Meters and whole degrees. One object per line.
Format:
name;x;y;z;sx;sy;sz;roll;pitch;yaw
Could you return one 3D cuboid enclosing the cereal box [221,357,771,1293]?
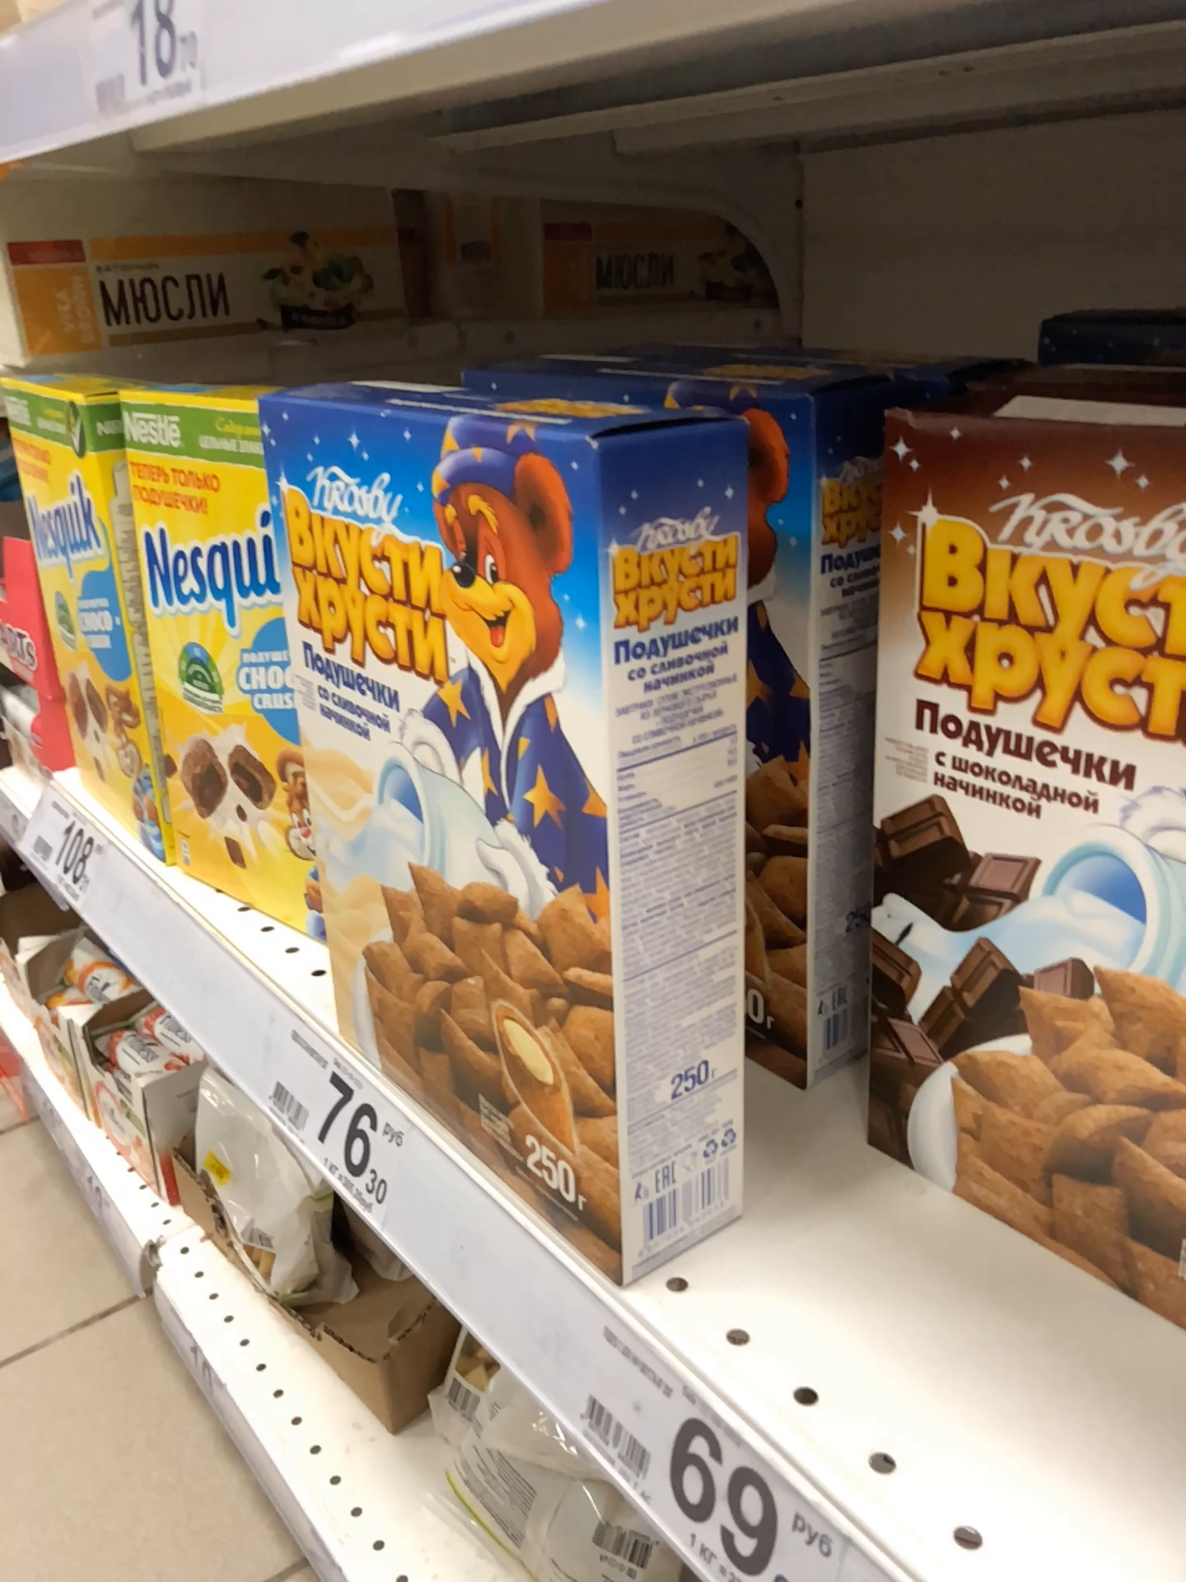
cereal box;-0.034;-0.005;0.392;0.050;0.229;0.191;-18;27;-34
